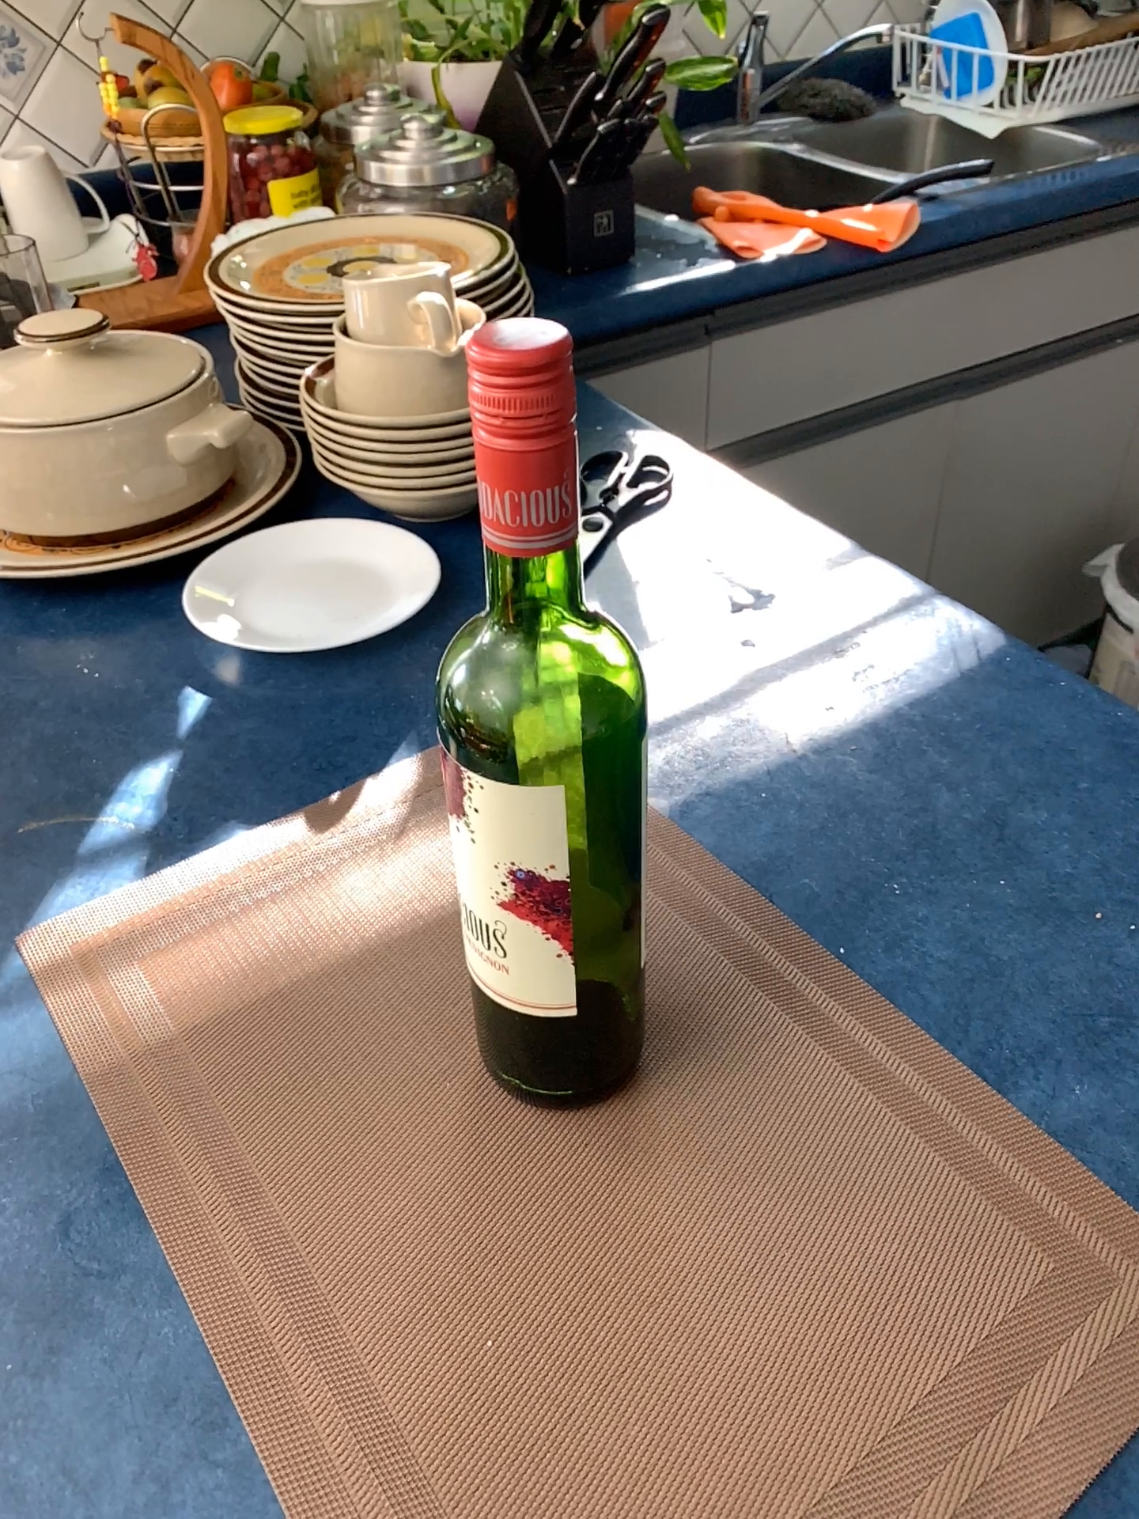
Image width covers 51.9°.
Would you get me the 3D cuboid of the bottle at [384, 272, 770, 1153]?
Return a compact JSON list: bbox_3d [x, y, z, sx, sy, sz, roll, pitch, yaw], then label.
[{"bbox_3d":[0.004,0.004,0.401,0.080,0.297,0.081,-1,39,1],"label":"bottle"}]
